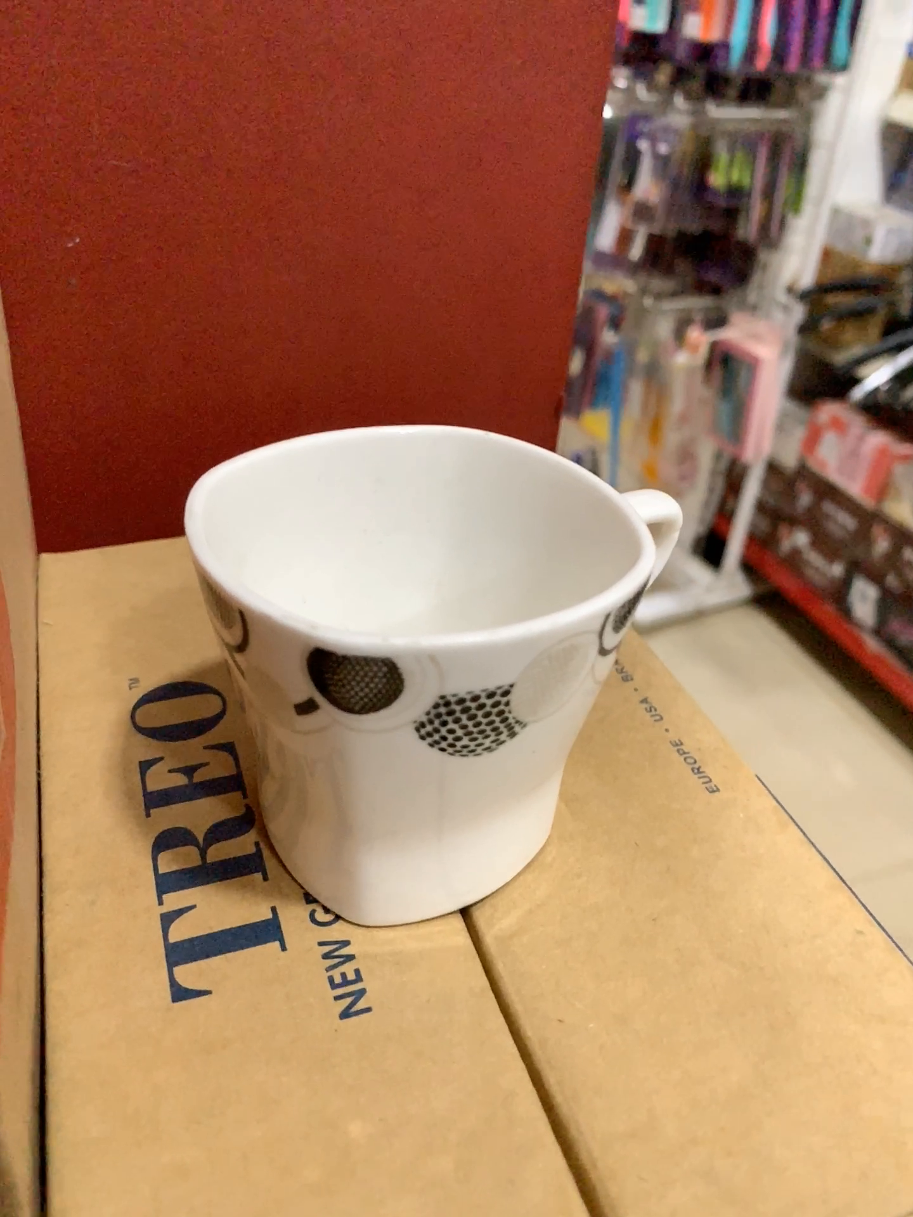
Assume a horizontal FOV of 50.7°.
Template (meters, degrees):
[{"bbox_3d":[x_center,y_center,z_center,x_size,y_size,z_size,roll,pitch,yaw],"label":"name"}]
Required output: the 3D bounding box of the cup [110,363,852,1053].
[{"bbox_3d":[0.004,0.006,0.155,0.090,0.060,0.060,-21,41,-34],"label":"cup"}]
